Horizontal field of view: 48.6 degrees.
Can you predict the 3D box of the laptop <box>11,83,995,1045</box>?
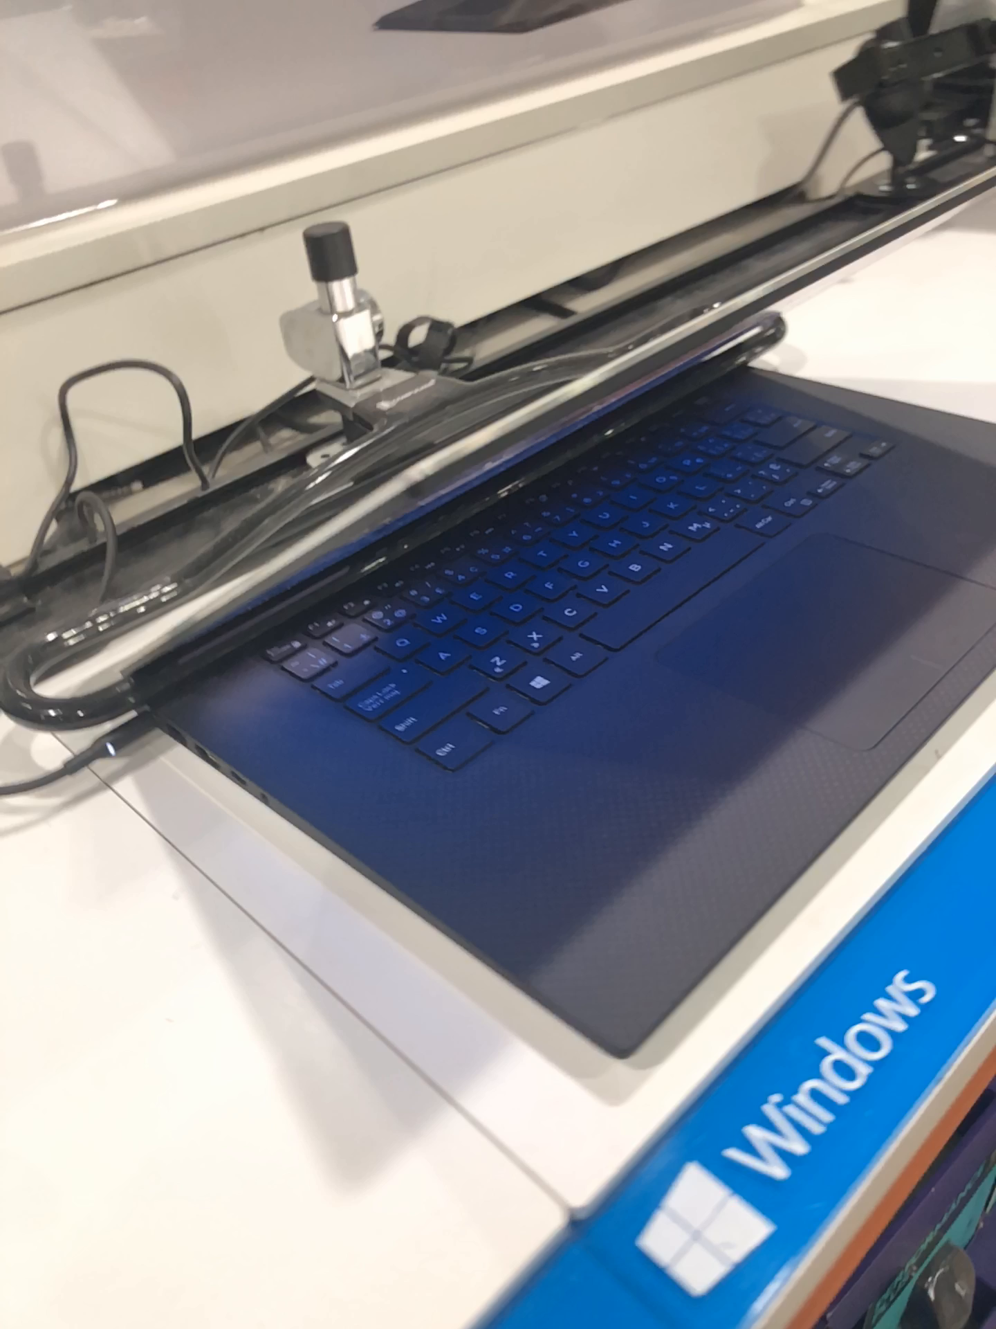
[{"bbox_3d":[0.066,-0.088,0.377,0.217,0.133,0.346,26,46,36],"label":"laptop"}]
